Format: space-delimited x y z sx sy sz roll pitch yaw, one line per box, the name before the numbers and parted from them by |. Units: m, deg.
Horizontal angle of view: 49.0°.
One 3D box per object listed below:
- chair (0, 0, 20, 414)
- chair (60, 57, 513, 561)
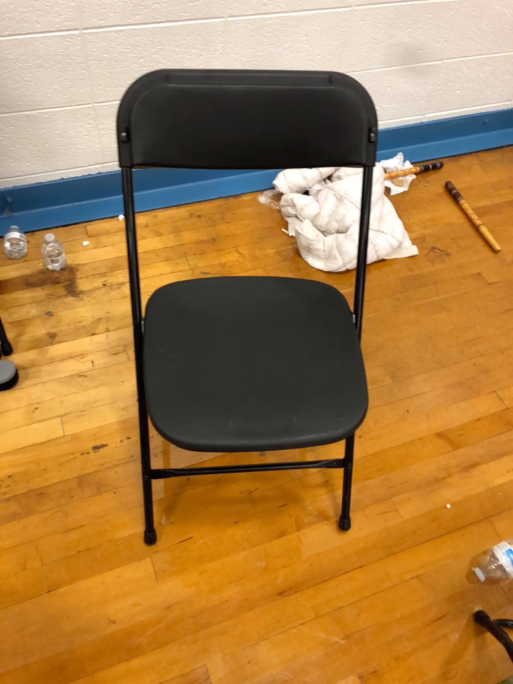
chair | -0.890 -0.347 1.197 0.481 0.790 0.546 -15 53 -16
chair | -0.006 -0.020 1.008 0.471 0.720 0.526 -2 50 -7
